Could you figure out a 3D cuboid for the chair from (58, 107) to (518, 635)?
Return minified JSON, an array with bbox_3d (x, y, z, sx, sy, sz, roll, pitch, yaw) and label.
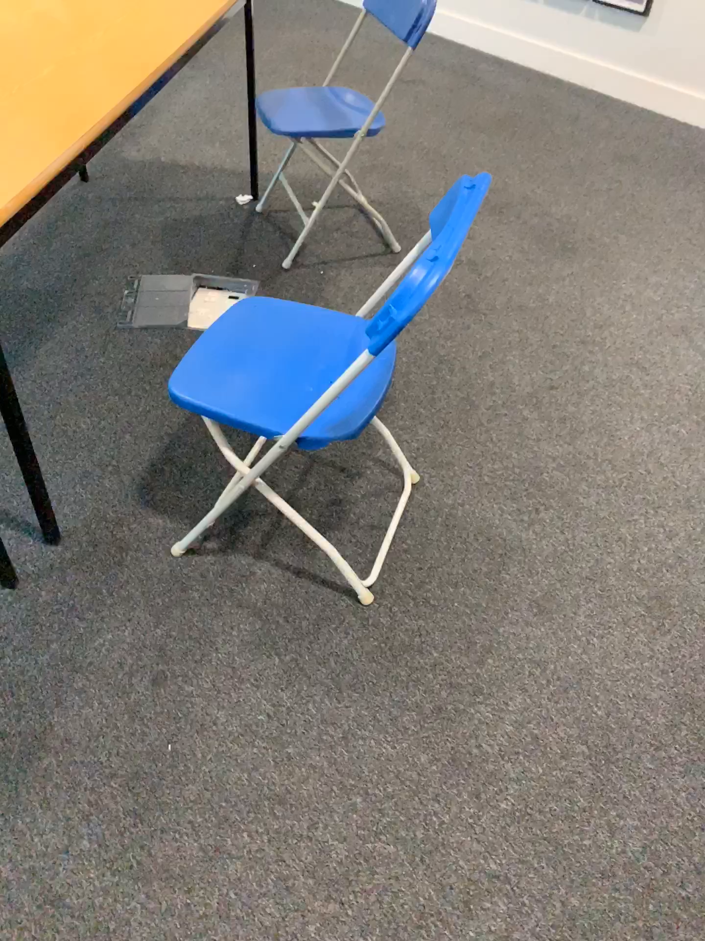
[{"bbox_3d":[-0.076,-0.185,1.364,0.550,0.713,0.535,16,46,12],"label":"chair"}]
